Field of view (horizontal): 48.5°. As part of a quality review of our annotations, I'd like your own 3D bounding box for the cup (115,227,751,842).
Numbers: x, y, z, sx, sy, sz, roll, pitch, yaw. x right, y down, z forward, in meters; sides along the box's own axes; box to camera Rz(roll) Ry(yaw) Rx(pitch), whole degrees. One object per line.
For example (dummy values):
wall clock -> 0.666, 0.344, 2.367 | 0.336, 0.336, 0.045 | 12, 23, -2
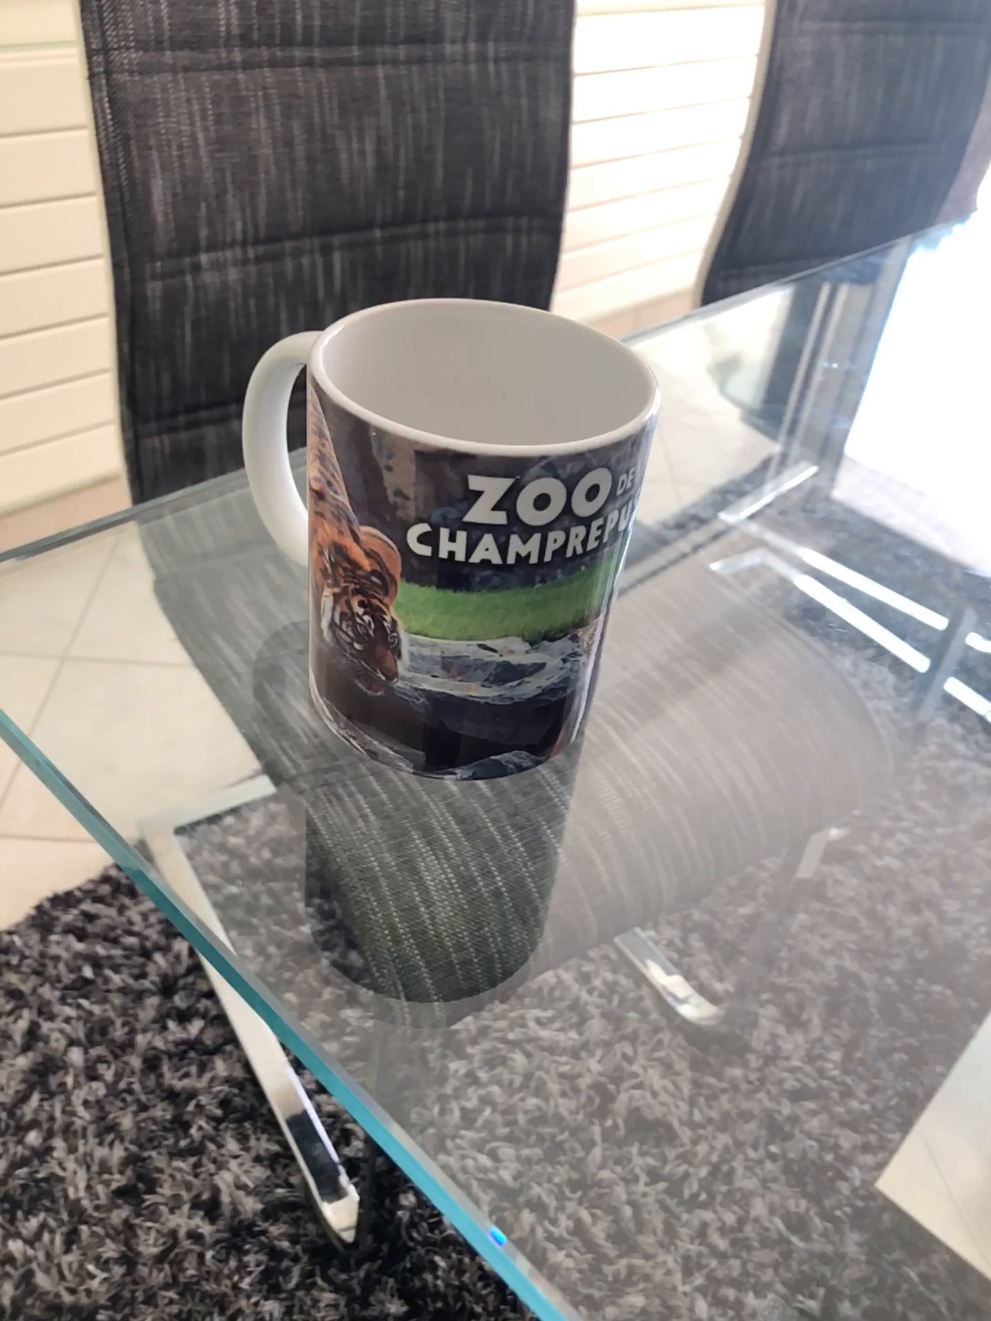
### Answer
cup -> -0.019, -0.038, 0.275 | 0.120, 0.089, 0.081 | 30, 43, 25
